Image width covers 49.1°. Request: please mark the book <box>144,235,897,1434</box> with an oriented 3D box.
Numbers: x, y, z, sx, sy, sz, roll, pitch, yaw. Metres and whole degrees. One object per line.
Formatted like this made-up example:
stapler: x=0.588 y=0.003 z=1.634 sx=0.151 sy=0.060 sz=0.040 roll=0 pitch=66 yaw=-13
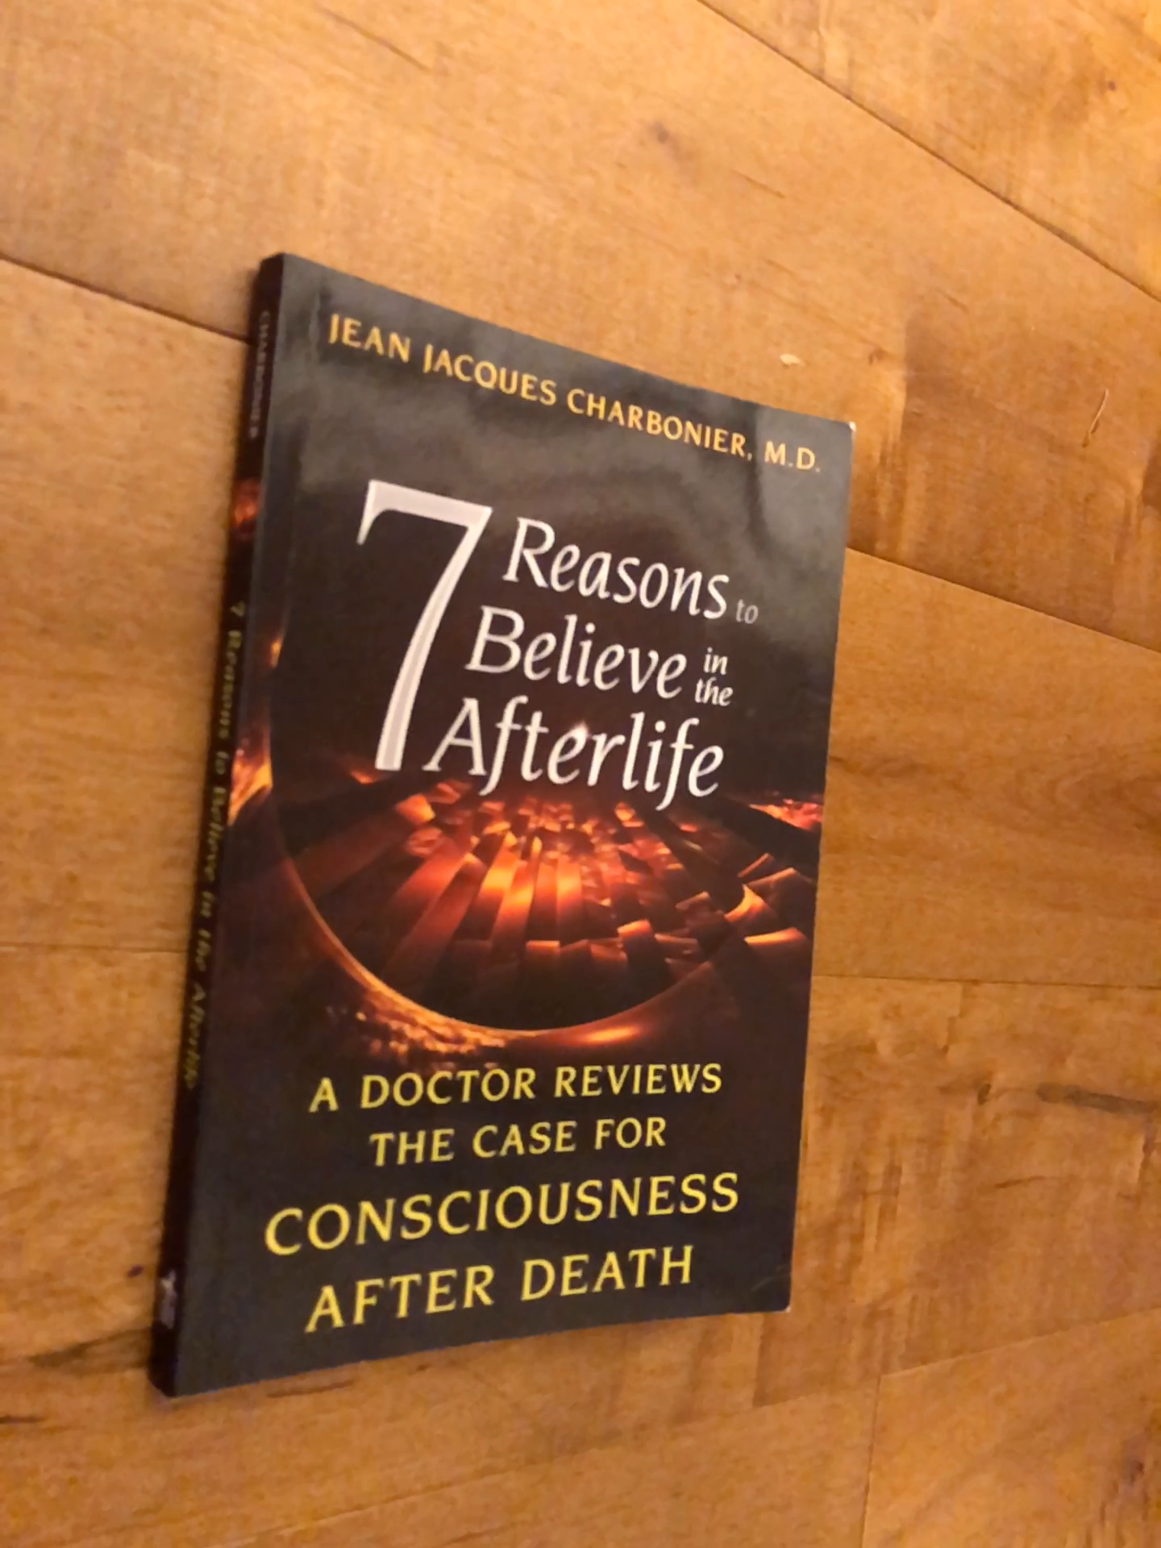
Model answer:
book: x=-0.006 y=0.019 z=0.320 sx=0.170 sy=0.030 sz=0.250 roll=6 pitch=89 yaw=-30
